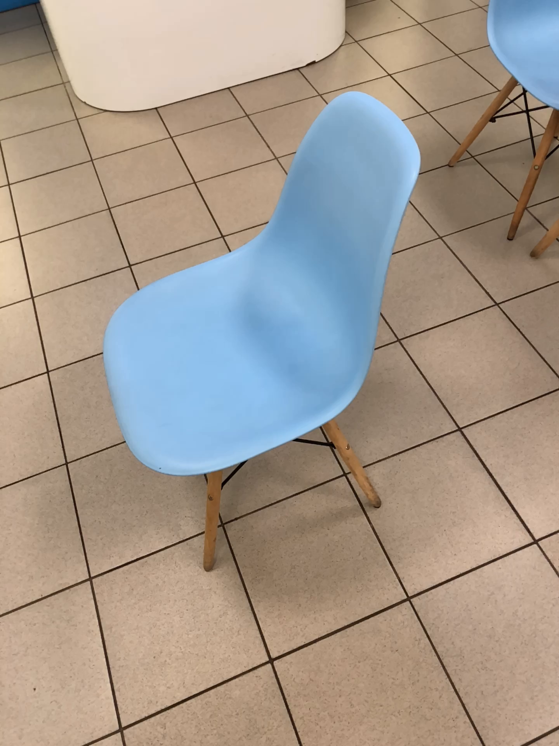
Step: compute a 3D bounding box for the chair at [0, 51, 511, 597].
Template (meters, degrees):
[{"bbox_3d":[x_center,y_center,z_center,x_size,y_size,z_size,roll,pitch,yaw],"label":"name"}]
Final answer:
[{"bbox_3d":[-0.045,-0.032,1.136,0.570,0.776,0.472,-20,55,-9],"label":"chair"}]
